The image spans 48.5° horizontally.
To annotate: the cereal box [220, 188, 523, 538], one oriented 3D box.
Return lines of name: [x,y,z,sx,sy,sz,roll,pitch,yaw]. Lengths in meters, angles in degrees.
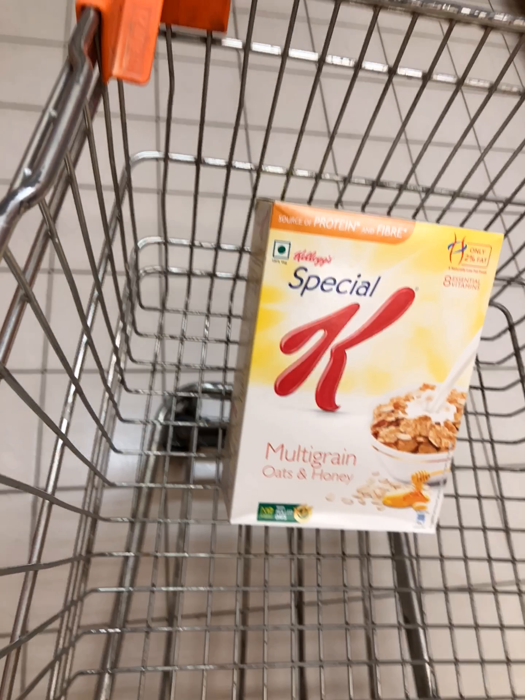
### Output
cereal box: [0.078,0.014,0.502,0.190,0.090,0.269,6,105,-11]
